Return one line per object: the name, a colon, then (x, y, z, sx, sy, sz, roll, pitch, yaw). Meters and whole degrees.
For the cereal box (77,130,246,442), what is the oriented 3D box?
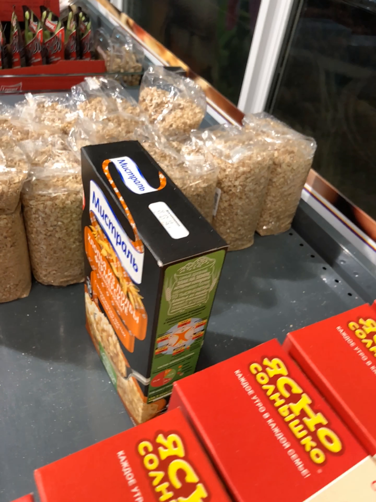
cereal box: (-0.038, 0.034, 0.338, 0.050, 0.209, 0.141, -16, 48, -27)
